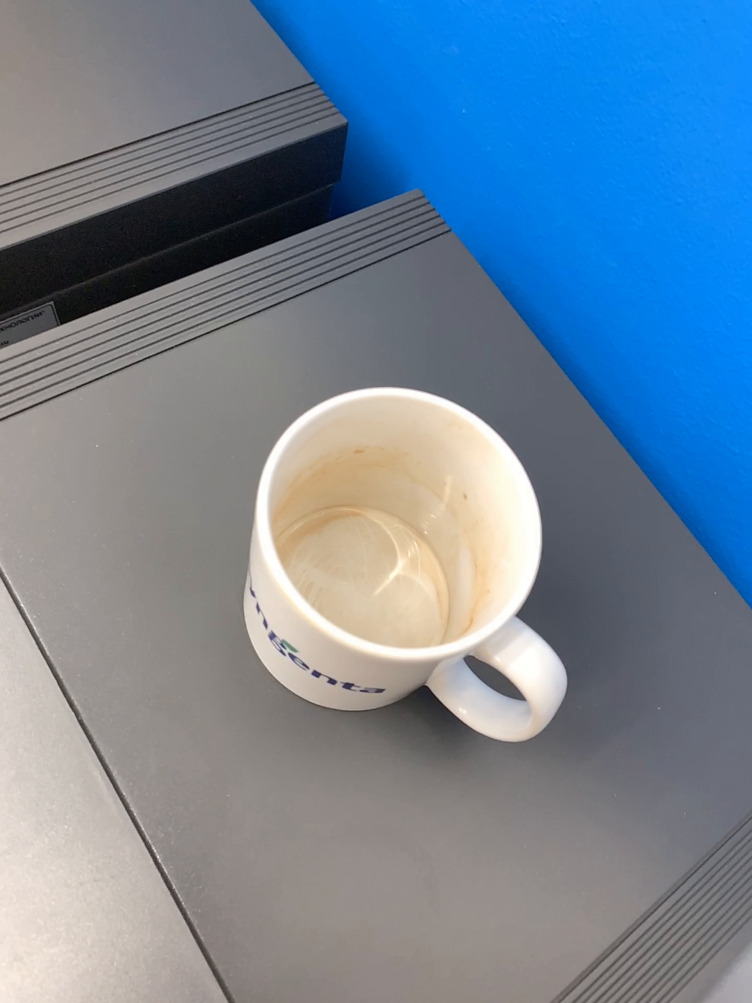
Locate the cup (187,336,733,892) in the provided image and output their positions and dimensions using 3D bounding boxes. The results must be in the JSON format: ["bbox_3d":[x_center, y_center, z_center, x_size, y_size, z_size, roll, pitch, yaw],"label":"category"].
[{"bbox_3d":[0.017,0.039,0.256,0.131,0.094,0.088,45,66,8],"label":"cup"}]
